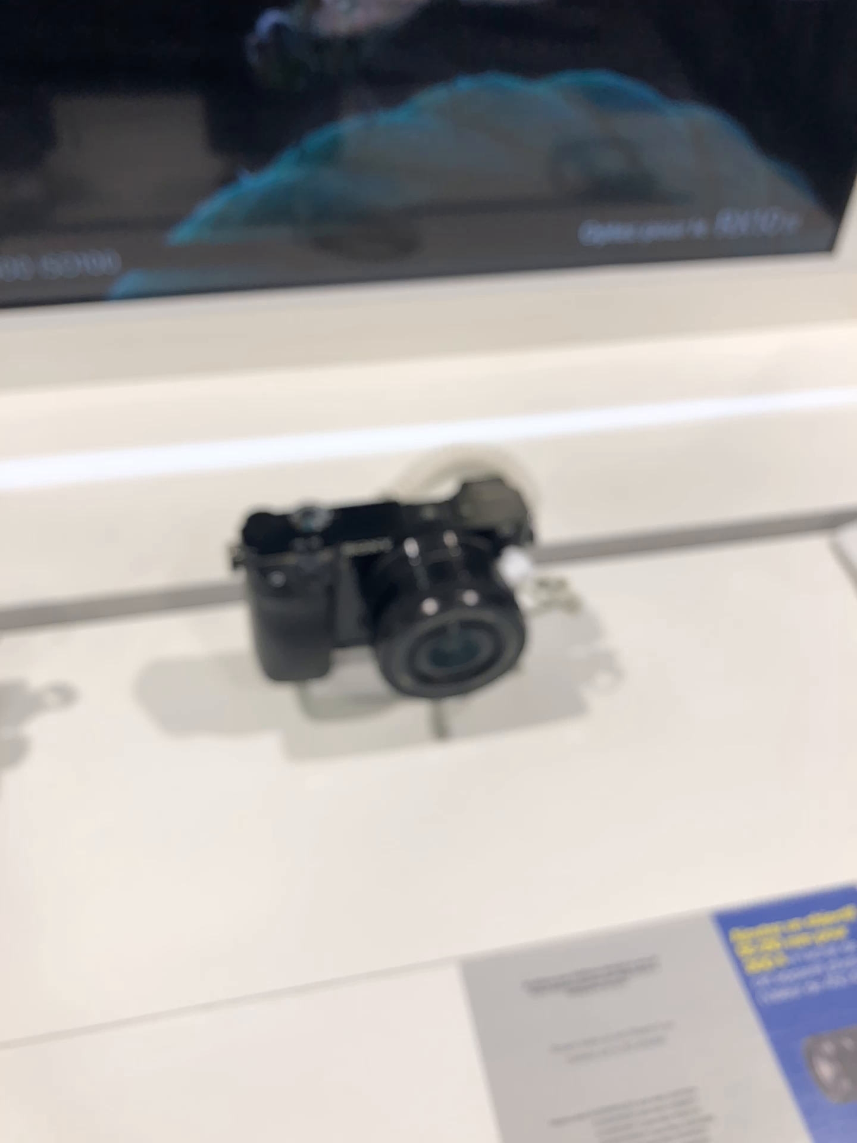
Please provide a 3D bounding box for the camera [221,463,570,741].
[{"bbox_3d":[-0.016,0.012,0.420,0.130,0.077,0.065,-9,44,-10],"label":"camera"}]
